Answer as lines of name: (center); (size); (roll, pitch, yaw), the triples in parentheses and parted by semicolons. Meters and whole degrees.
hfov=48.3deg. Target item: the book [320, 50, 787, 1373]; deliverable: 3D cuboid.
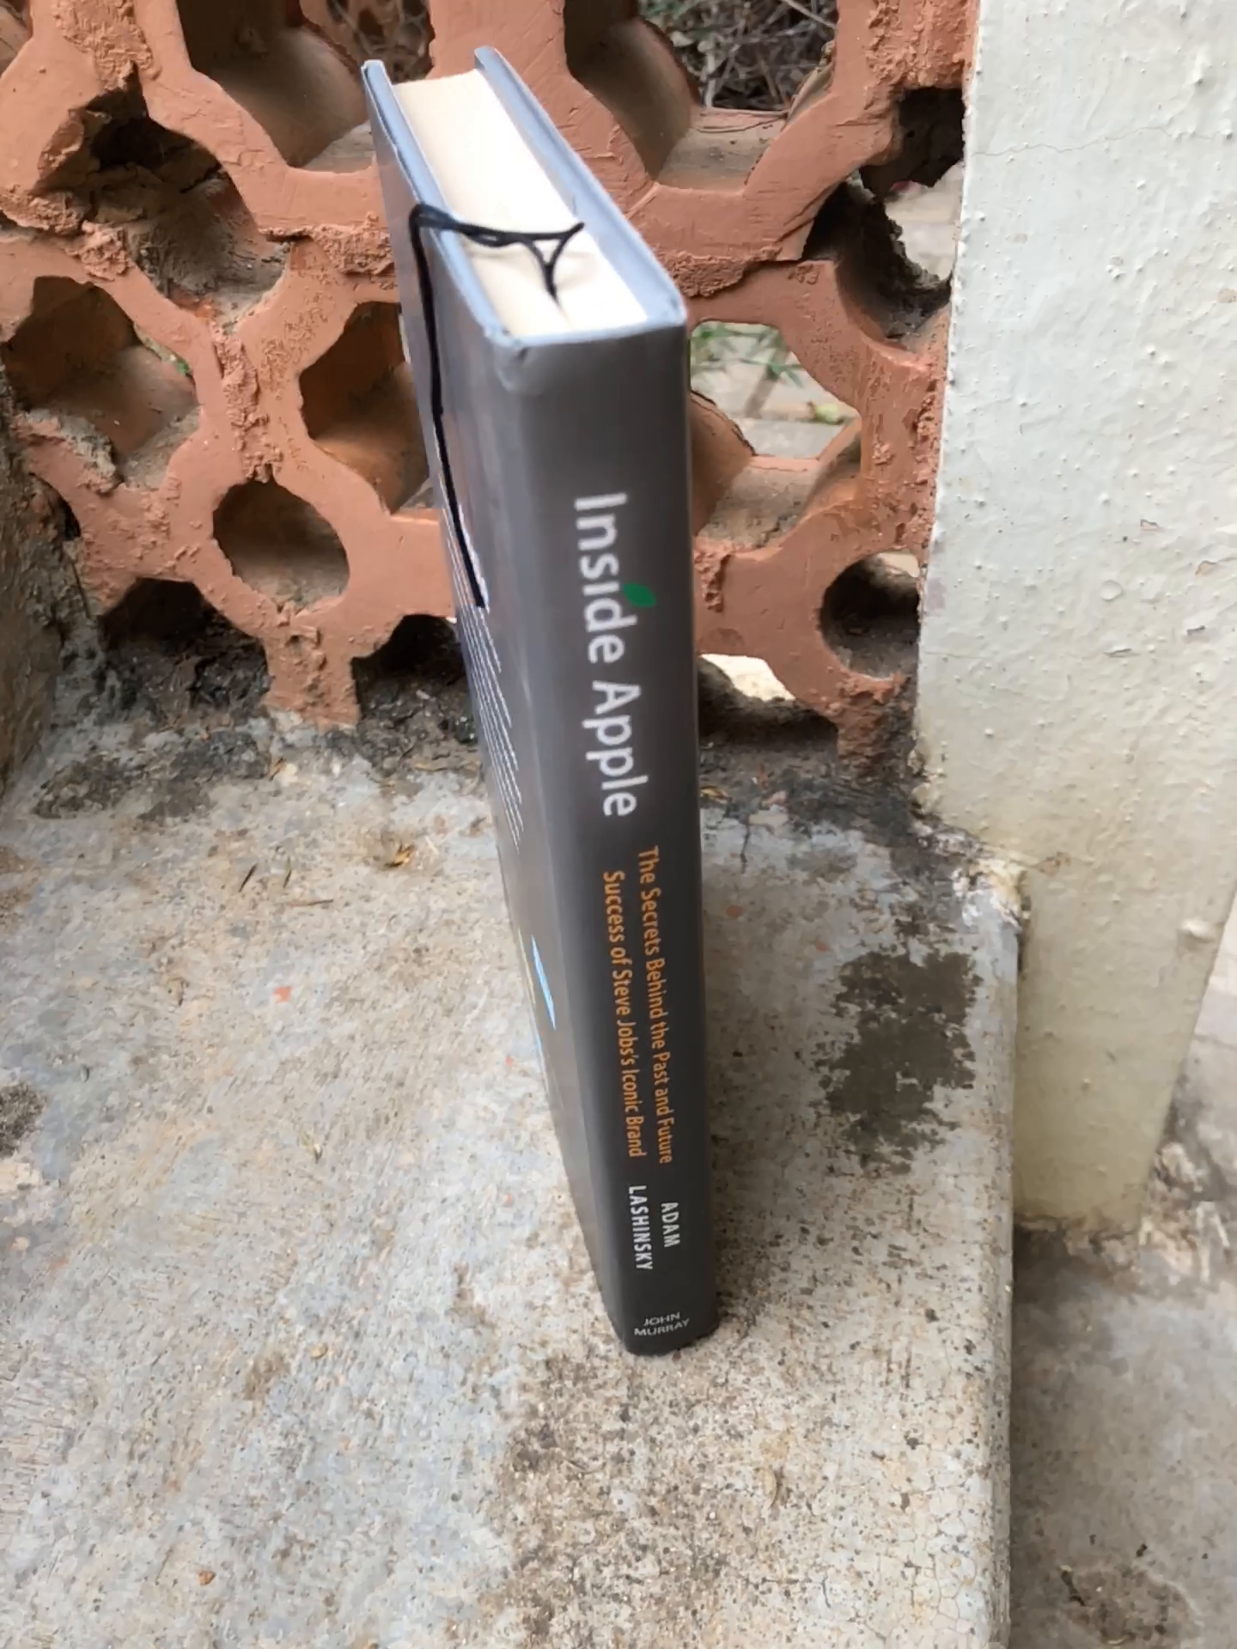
book: (-0.012, -0.022, 0.292); (0.040, 0.219, 0.171); (-13, 40, -7)
